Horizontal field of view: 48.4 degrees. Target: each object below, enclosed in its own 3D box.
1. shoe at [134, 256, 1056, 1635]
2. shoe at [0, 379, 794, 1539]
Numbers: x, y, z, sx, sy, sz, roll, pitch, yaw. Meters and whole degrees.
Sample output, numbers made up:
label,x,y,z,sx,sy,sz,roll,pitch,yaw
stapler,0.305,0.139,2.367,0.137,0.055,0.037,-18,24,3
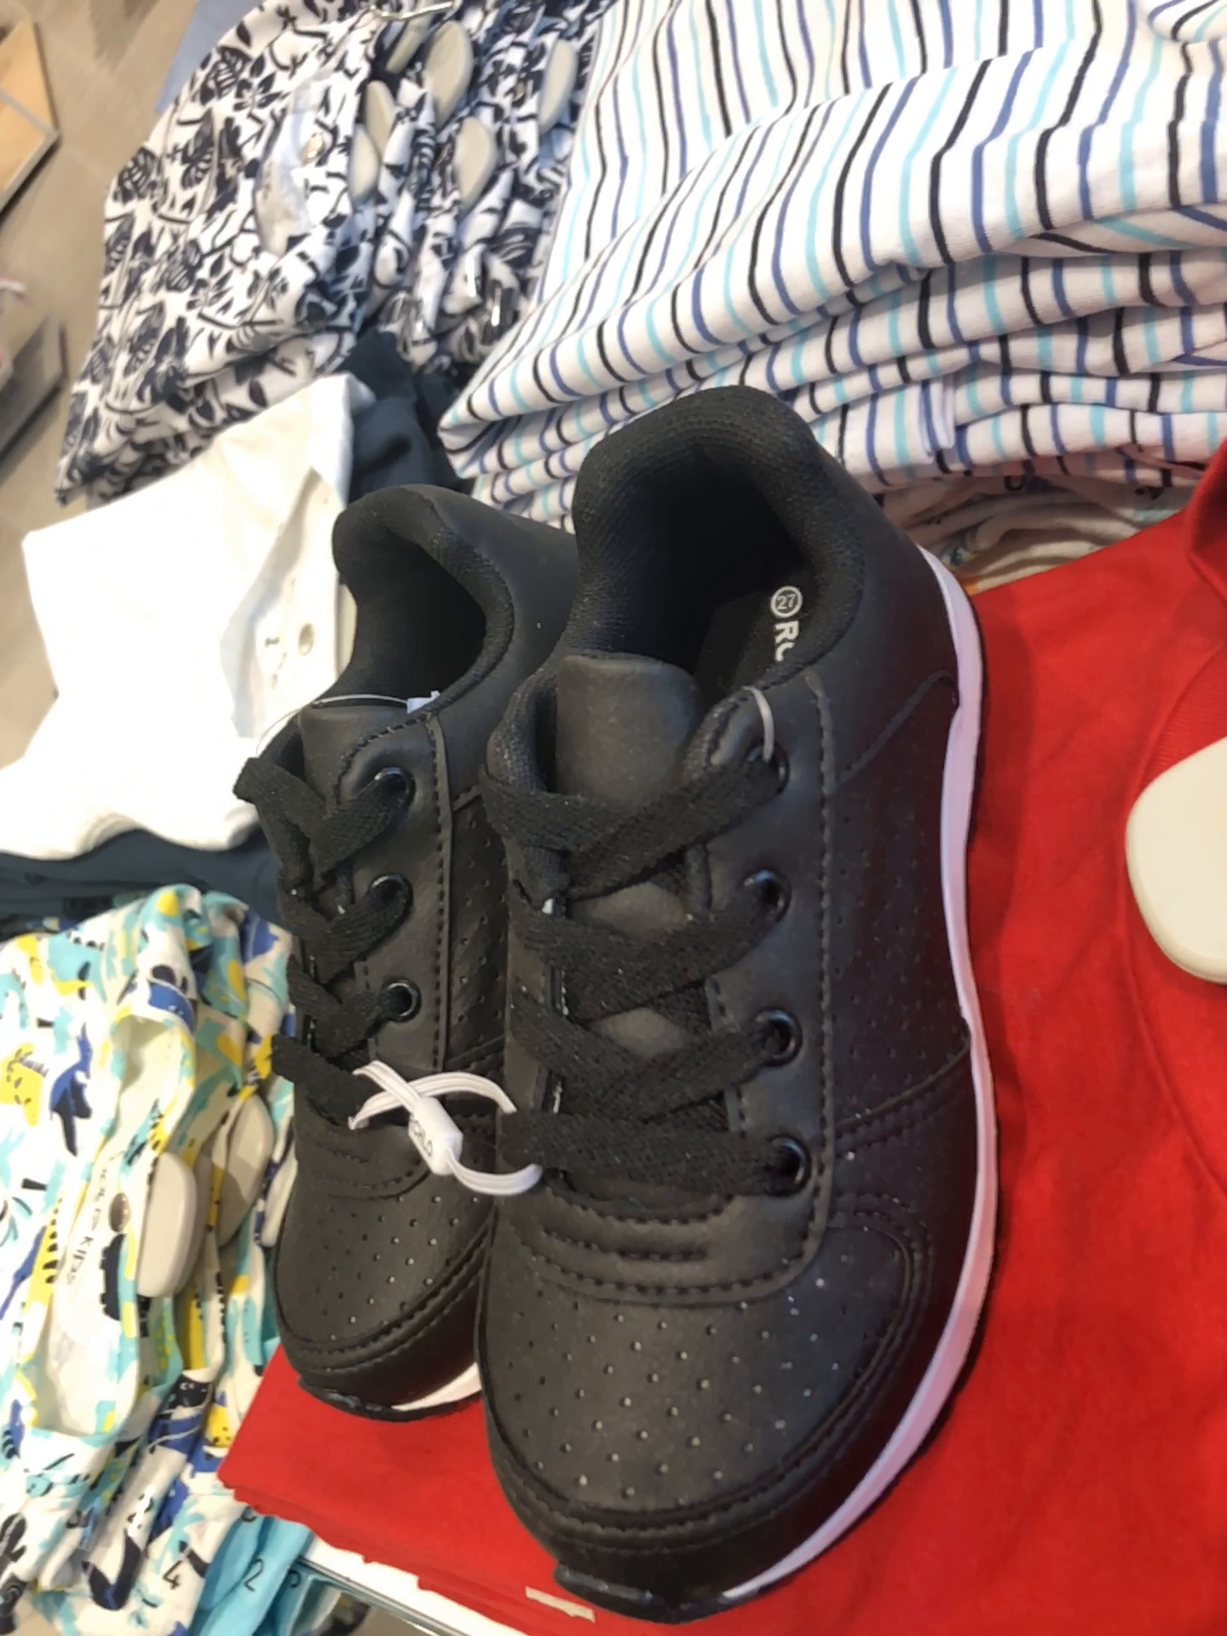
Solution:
label,x,y,z,sx,sy,sz,roll,pitch,yaw
shoe,0.013,0.023,0.219,0.080,0.086,0.190,-3,63,31
shoe,-0.036,0.024,0.258,0.080,0.080,0.180,1,69,36
